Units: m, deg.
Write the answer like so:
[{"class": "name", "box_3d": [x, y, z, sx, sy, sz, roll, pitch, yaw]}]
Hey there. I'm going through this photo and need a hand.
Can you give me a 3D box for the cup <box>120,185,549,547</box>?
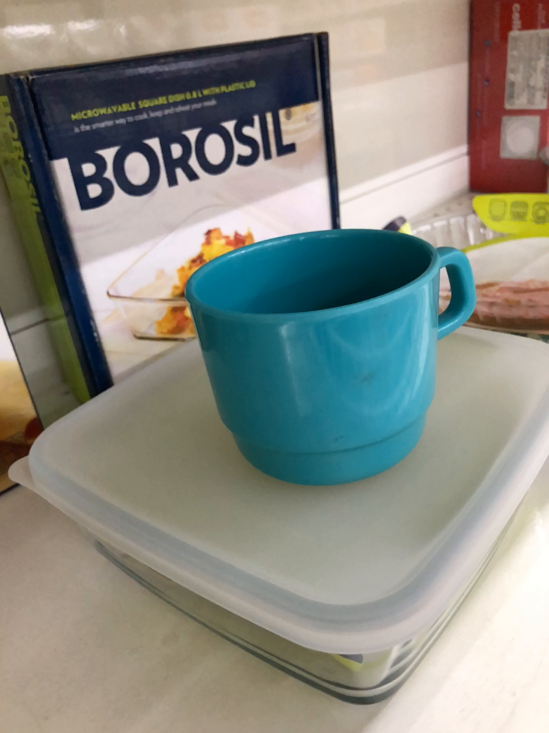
[{"class": "cup", "box_3d": [0.026, -0.015, 0.226, 0.121, 0.070, 0.090, -27, 32, -32]}]
